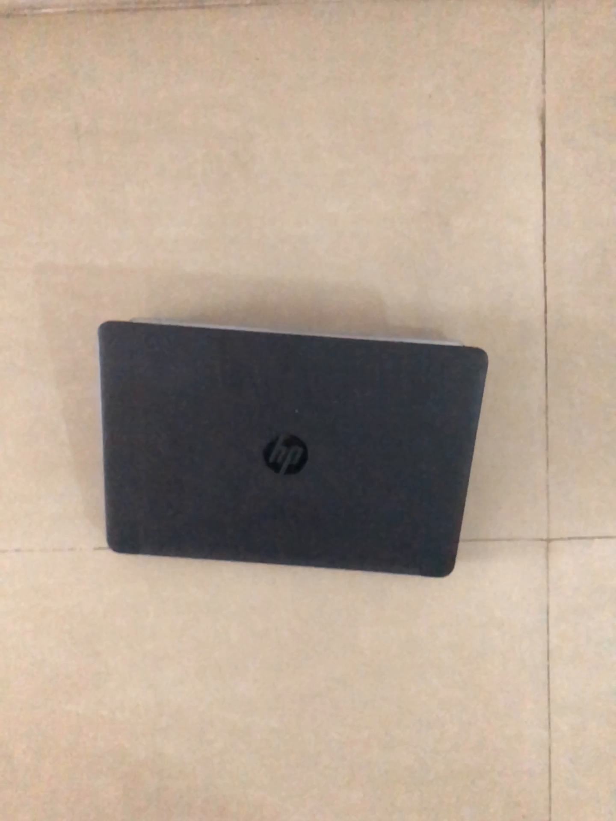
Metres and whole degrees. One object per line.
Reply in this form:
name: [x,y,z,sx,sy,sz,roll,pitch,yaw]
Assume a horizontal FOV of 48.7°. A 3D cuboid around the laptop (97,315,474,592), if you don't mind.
laptop: [-0.021,0.036,0.616,0.304,0.085,0.214,4,95,0]
